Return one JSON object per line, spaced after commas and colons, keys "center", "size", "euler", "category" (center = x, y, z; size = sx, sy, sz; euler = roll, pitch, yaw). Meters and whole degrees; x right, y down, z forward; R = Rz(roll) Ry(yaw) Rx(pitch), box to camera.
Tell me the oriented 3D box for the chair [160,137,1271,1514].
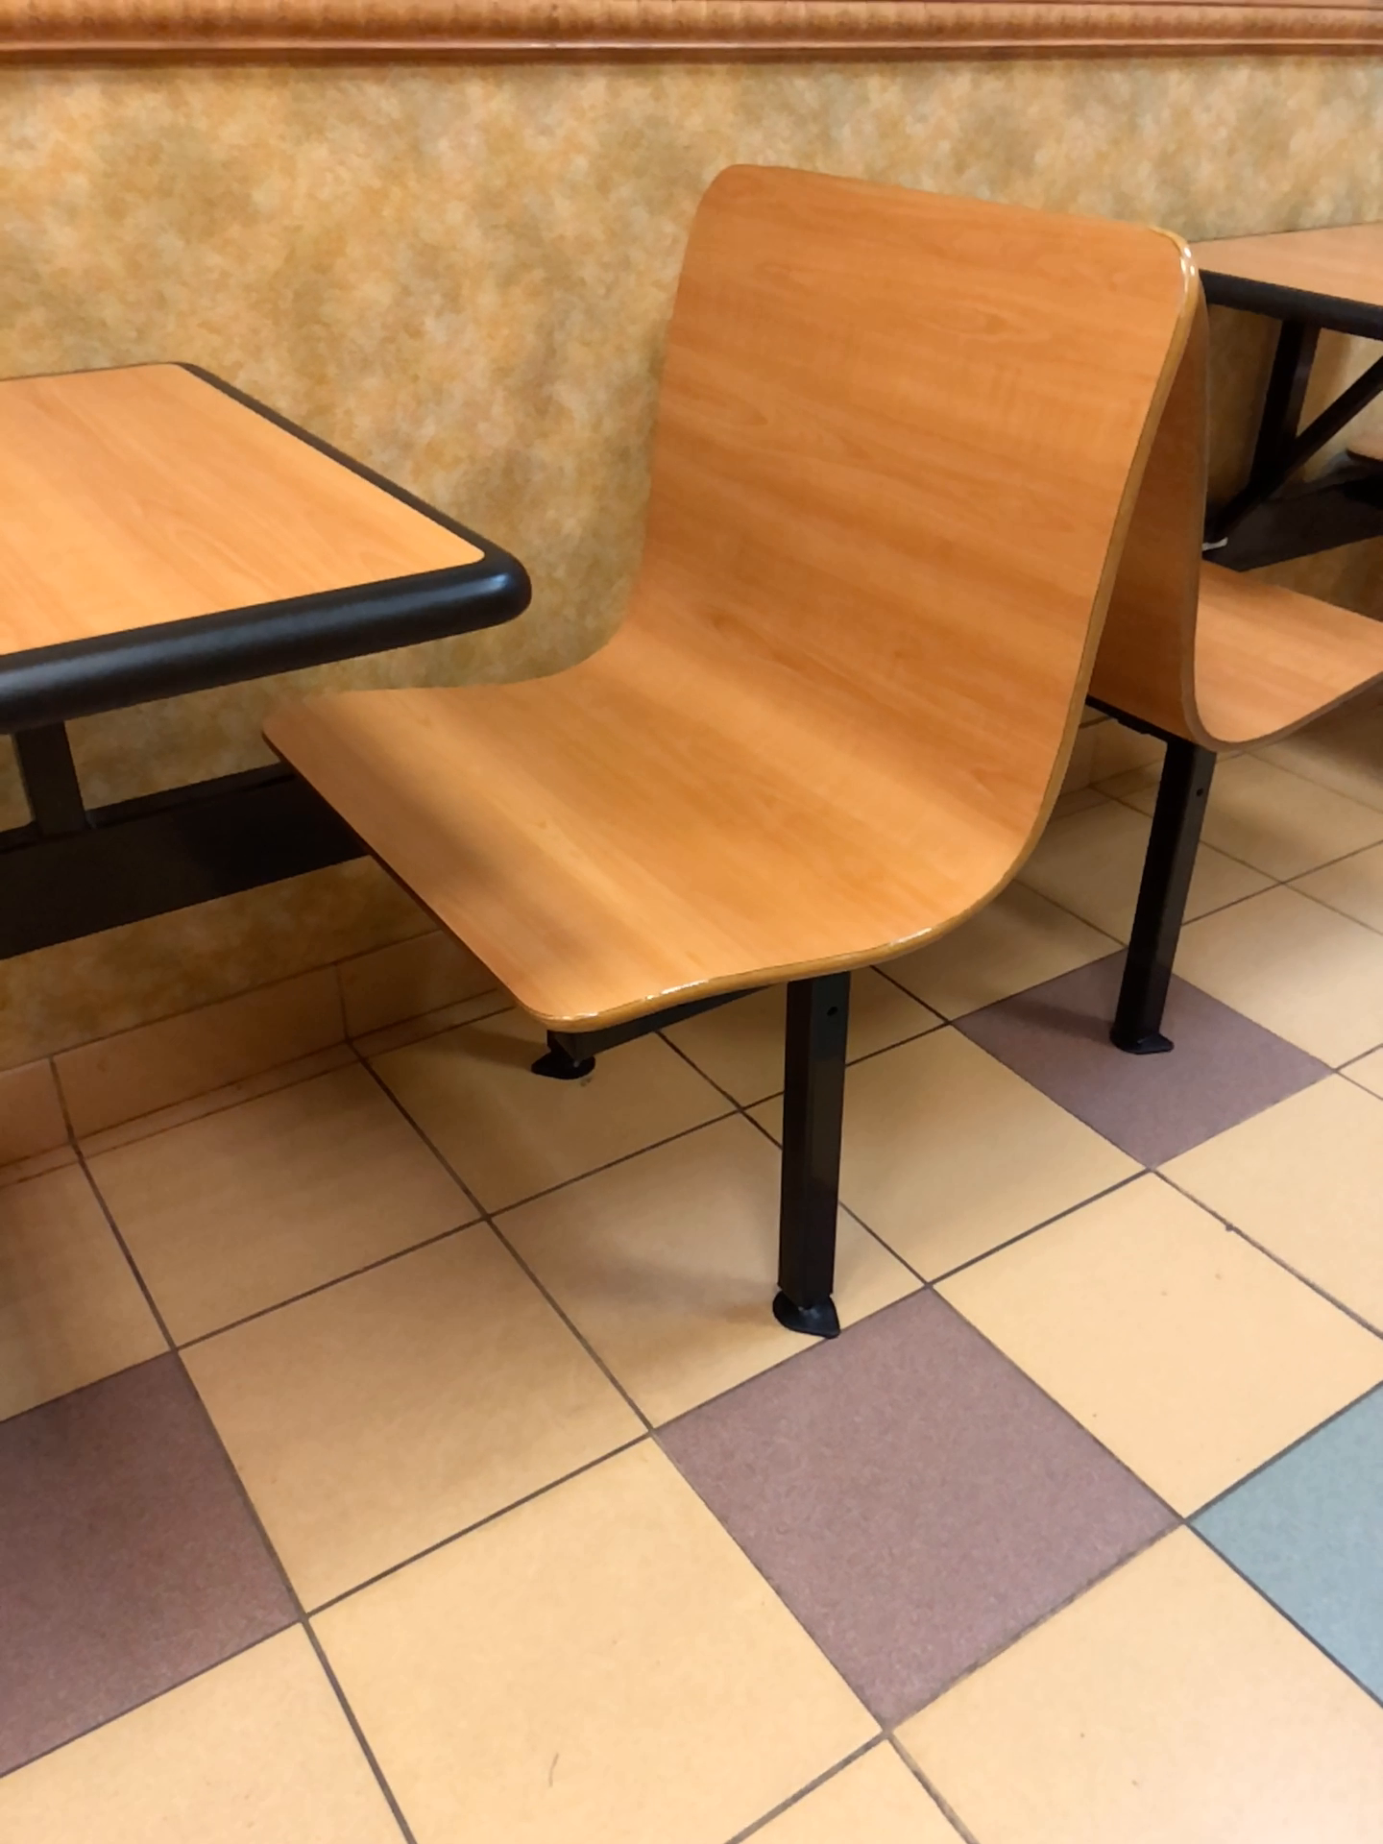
{"center": [-0.033, -0.136, 1.272], "size": [0.511, 0.885, 0.633], "euler": [-17, 36, -28], "category": "chair"}
